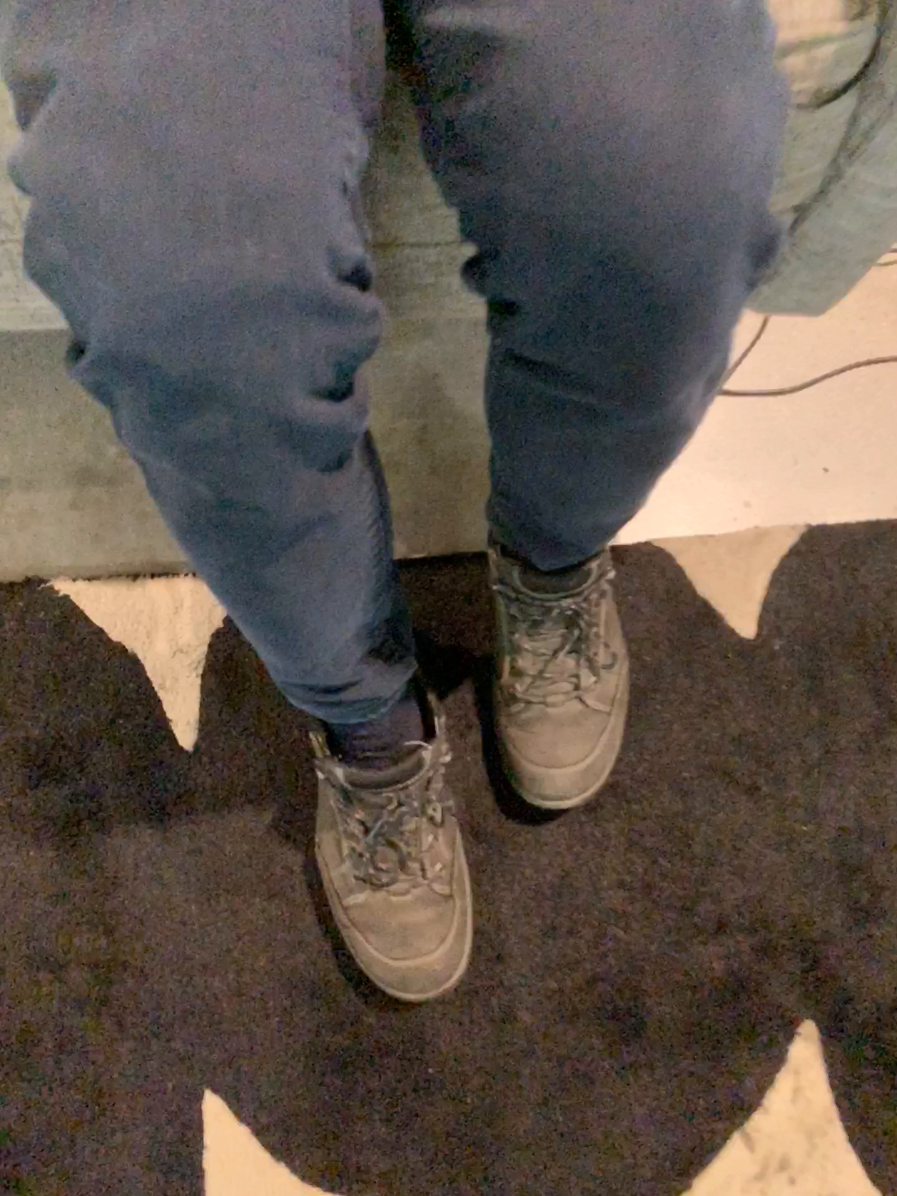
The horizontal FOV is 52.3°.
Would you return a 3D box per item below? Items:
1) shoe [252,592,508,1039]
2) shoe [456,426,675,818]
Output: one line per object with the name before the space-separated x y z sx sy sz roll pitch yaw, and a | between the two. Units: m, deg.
shoe | -0.052 0.153 0.682 0.121 0.077 0.287 -13 79 -4
shoe | 0.084 0.019 0.718 0.119 0.077 0.284 -7 79 -3
